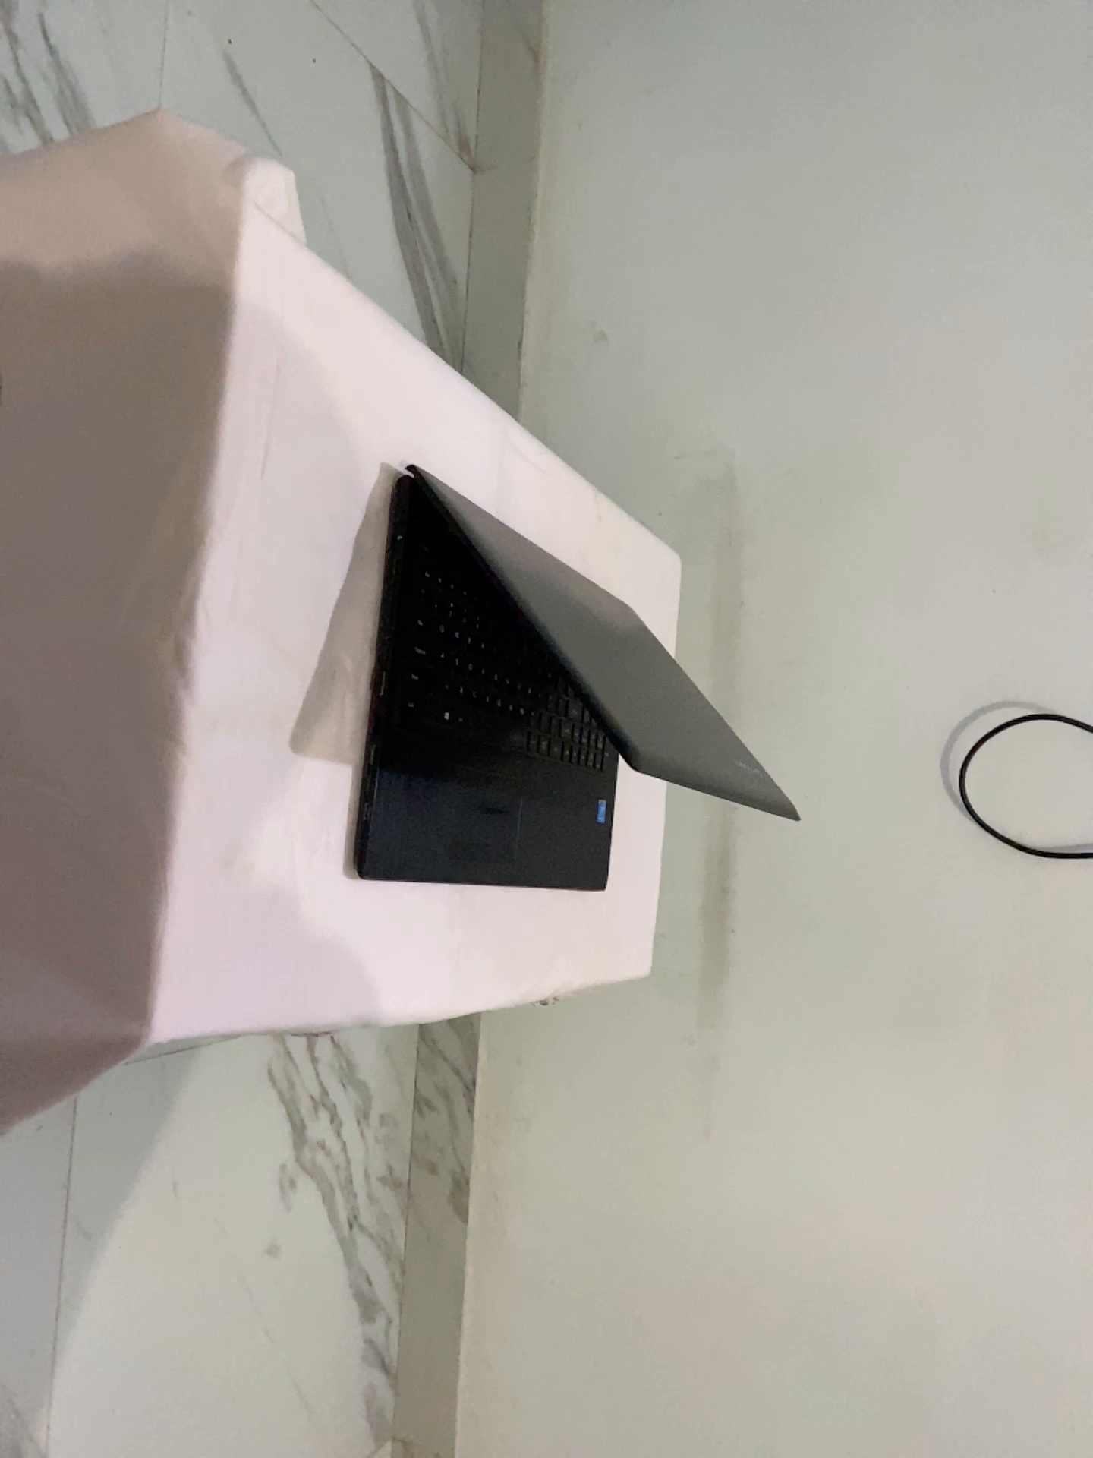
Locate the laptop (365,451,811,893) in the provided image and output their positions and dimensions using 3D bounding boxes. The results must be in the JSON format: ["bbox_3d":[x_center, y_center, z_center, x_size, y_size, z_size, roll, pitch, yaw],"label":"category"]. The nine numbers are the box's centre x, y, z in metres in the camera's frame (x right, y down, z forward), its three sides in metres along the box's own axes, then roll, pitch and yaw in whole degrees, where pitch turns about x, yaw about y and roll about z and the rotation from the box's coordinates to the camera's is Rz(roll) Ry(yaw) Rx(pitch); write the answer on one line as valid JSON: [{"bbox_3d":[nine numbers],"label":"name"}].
[{"bbox_3d":[0.059,-0.013,0.844,0.370,0.176,0.258,17,77,-63],"label":"laptop"}]
